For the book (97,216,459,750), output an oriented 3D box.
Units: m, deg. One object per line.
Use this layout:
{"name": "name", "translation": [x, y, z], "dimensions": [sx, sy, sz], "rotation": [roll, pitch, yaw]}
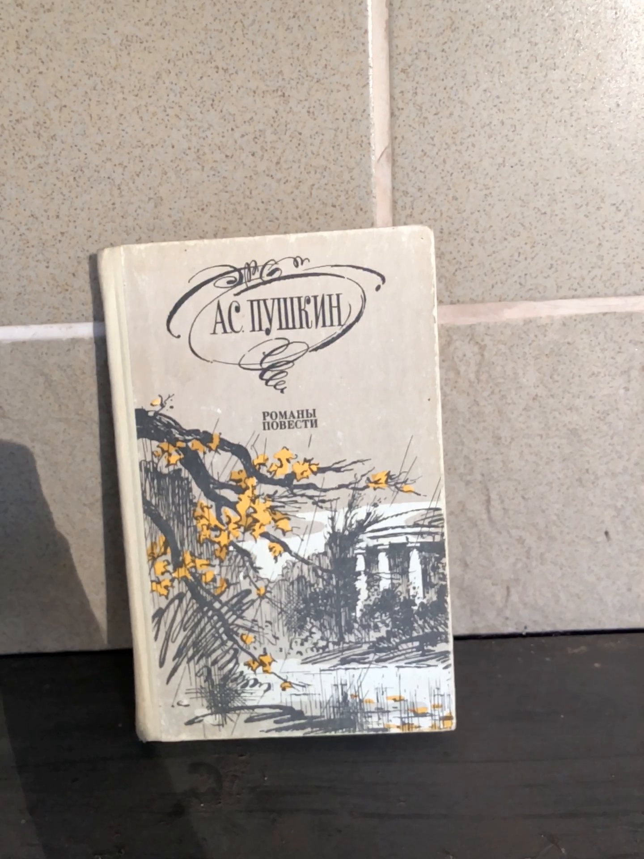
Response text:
{"name": "book", "translation": [-0.014, 0.022, 0.288], "dimensions": [0.125, 0.197, 0.040], "rotation": [-3, 6, 2]}
